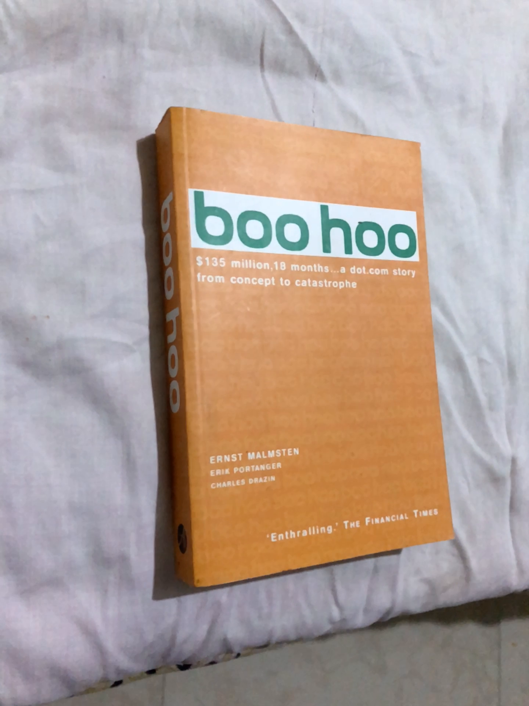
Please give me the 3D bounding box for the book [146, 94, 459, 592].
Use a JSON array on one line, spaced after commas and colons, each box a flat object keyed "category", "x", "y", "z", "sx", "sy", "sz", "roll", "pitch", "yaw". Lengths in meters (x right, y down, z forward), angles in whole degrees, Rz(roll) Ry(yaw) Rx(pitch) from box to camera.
[{"category": "book", "x": 0.017, "y": -0.007, "z": 0.278, "sx": 0.130, "sy": 0.040, "sz": 0.200, "roll": -1, "pitch": 85, "yaw": -21}]
